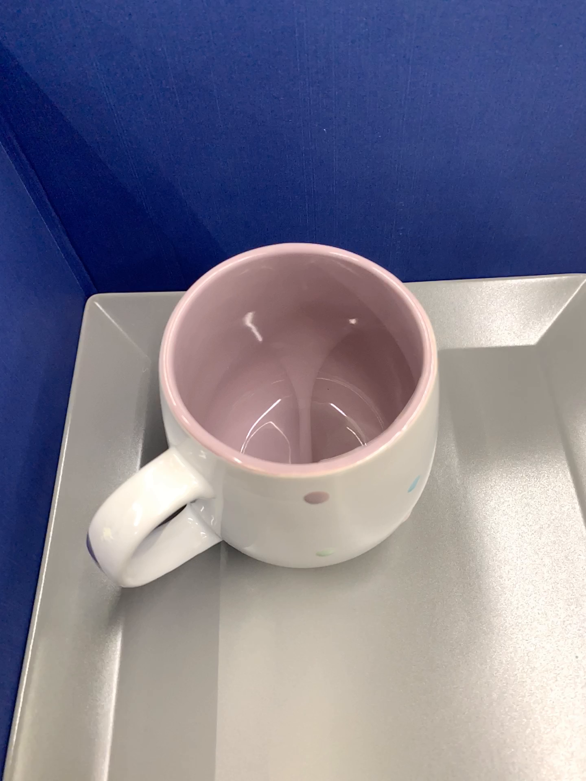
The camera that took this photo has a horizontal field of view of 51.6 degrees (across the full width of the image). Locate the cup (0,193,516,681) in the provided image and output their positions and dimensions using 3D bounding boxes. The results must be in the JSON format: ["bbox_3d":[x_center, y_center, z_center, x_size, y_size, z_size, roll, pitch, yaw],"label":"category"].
[{"bbox_3d":[-0.011,0.016,0.224,0.130,0.089,0.097,-34,62,-17],"label":"cup"}]
